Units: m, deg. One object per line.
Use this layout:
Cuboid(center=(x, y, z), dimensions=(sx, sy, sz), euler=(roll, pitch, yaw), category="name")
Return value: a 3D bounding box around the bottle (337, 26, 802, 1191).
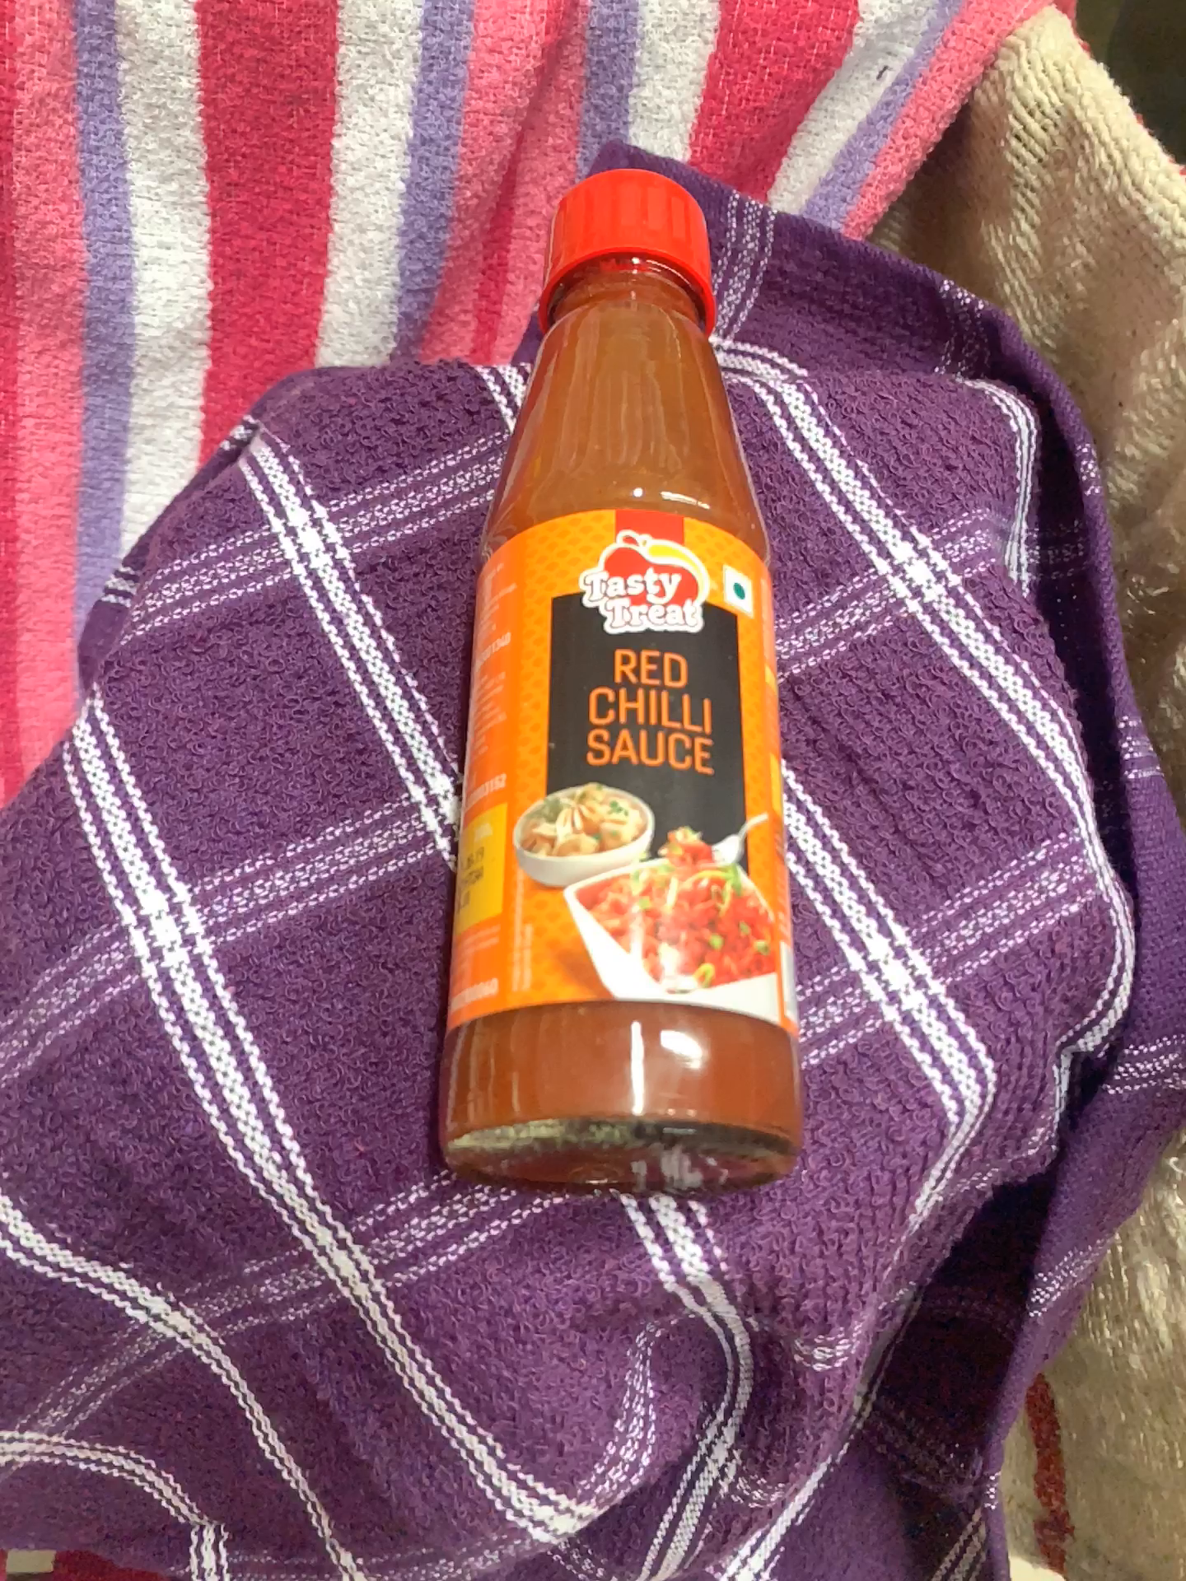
Cuboid(center=(-0.003, -0.036, 0.186), dimensions=(0.050, 0.040, 0.180), euler=(0, 67, -1), category="bottle")
